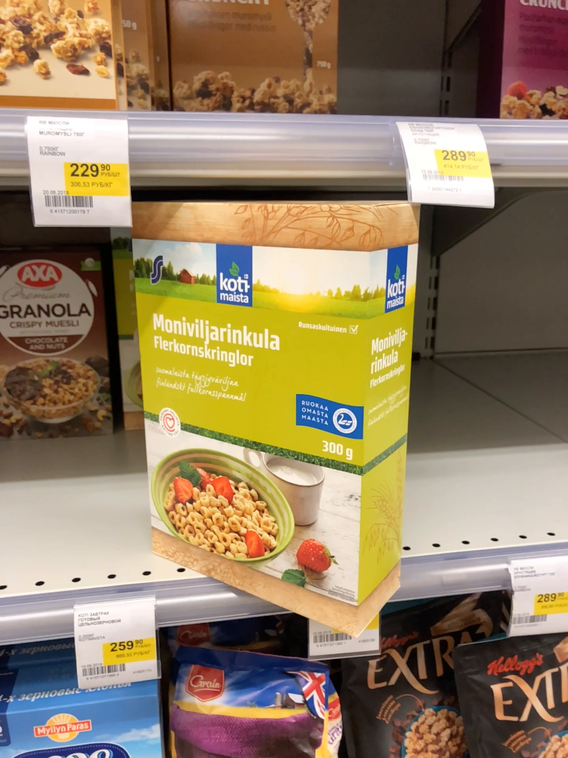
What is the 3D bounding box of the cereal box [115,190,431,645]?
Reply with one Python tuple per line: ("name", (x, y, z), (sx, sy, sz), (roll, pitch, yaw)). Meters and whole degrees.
("cereal box", (-0.013, 0.011, 0.421), (0.190, 0.259, 0.070), (10, 18, 33))
